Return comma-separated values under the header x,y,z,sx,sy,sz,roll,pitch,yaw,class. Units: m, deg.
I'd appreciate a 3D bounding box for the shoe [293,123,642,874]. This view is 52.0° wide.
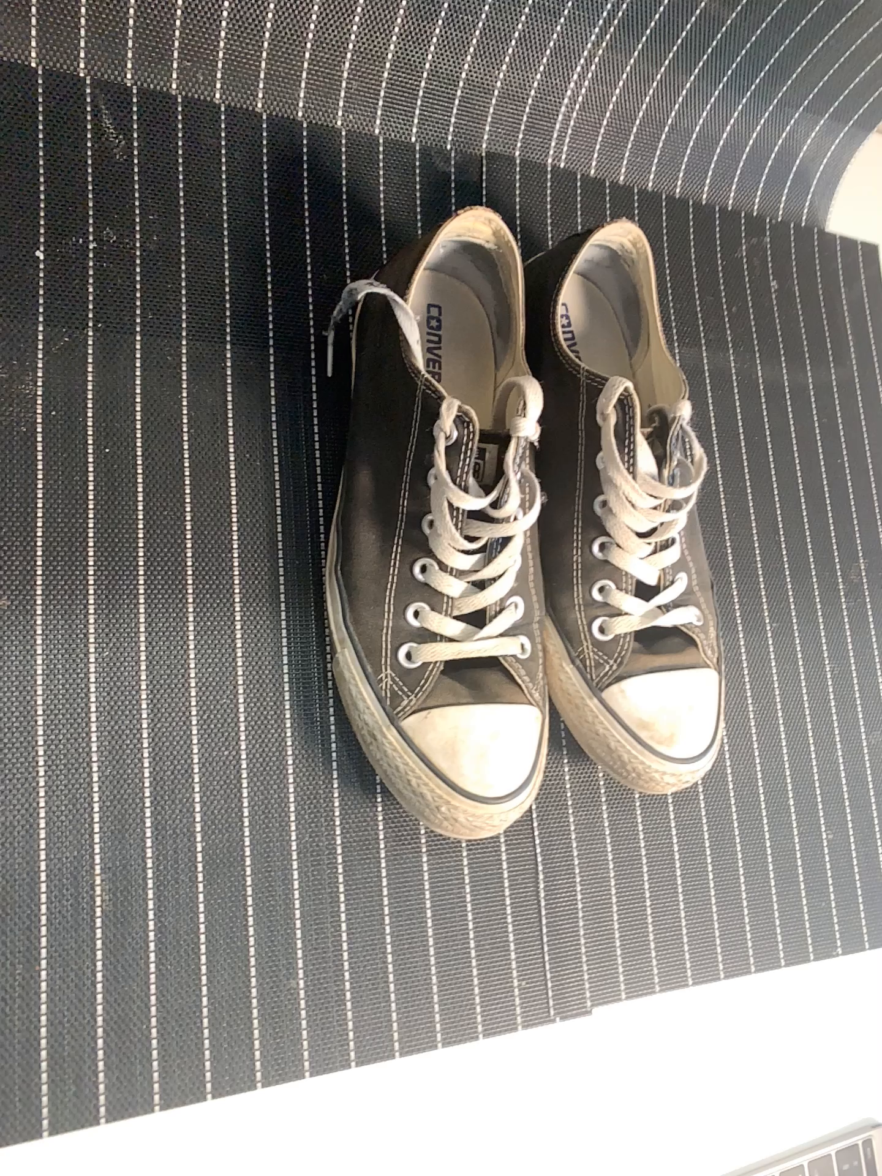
x,y,z,sx,sy,sz,roll,pitch,yaw,class
0.004,-0.038,0.407,0.110,0.080,0.300,0,79,-24,shoe

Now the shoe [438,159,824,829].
x,y,z,sx,sy,sz,roll,pitch,yaw,class
0.088,-0.045,0.449,0.110,0.080,0.300,-6,82,-25,shoe
